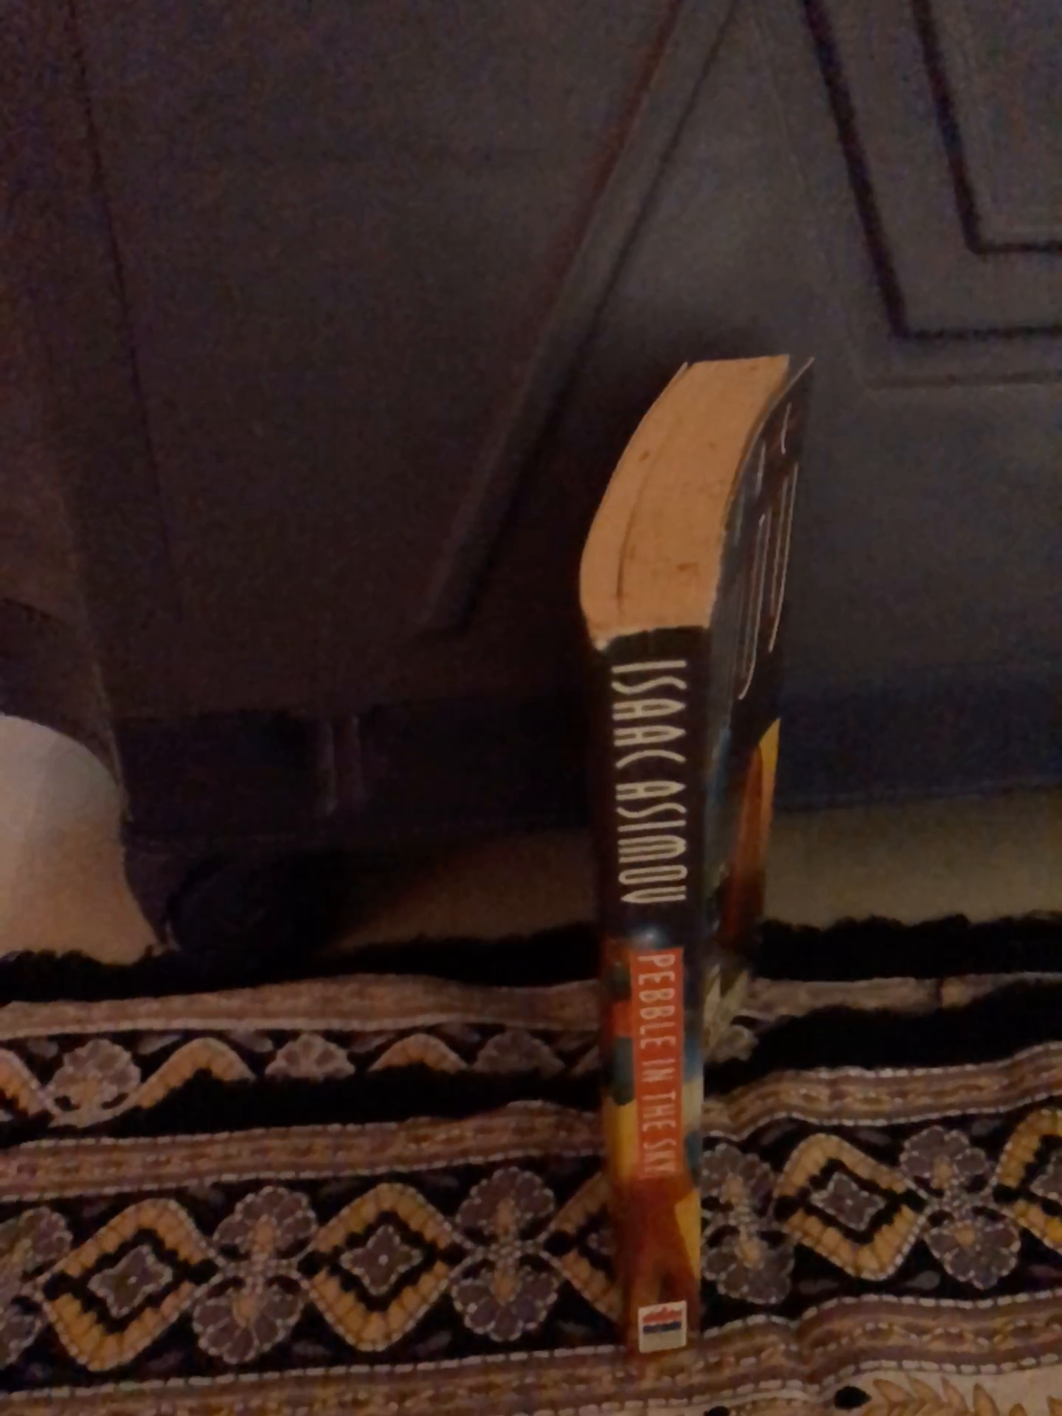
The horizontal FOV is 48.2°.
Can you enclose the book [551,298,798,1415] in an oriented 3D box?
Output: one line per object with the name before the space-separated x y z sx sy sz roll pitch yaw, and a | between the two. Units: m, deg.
book | 0.037 0.025 0.261 0.030 0.189 0.151 3 32 11
